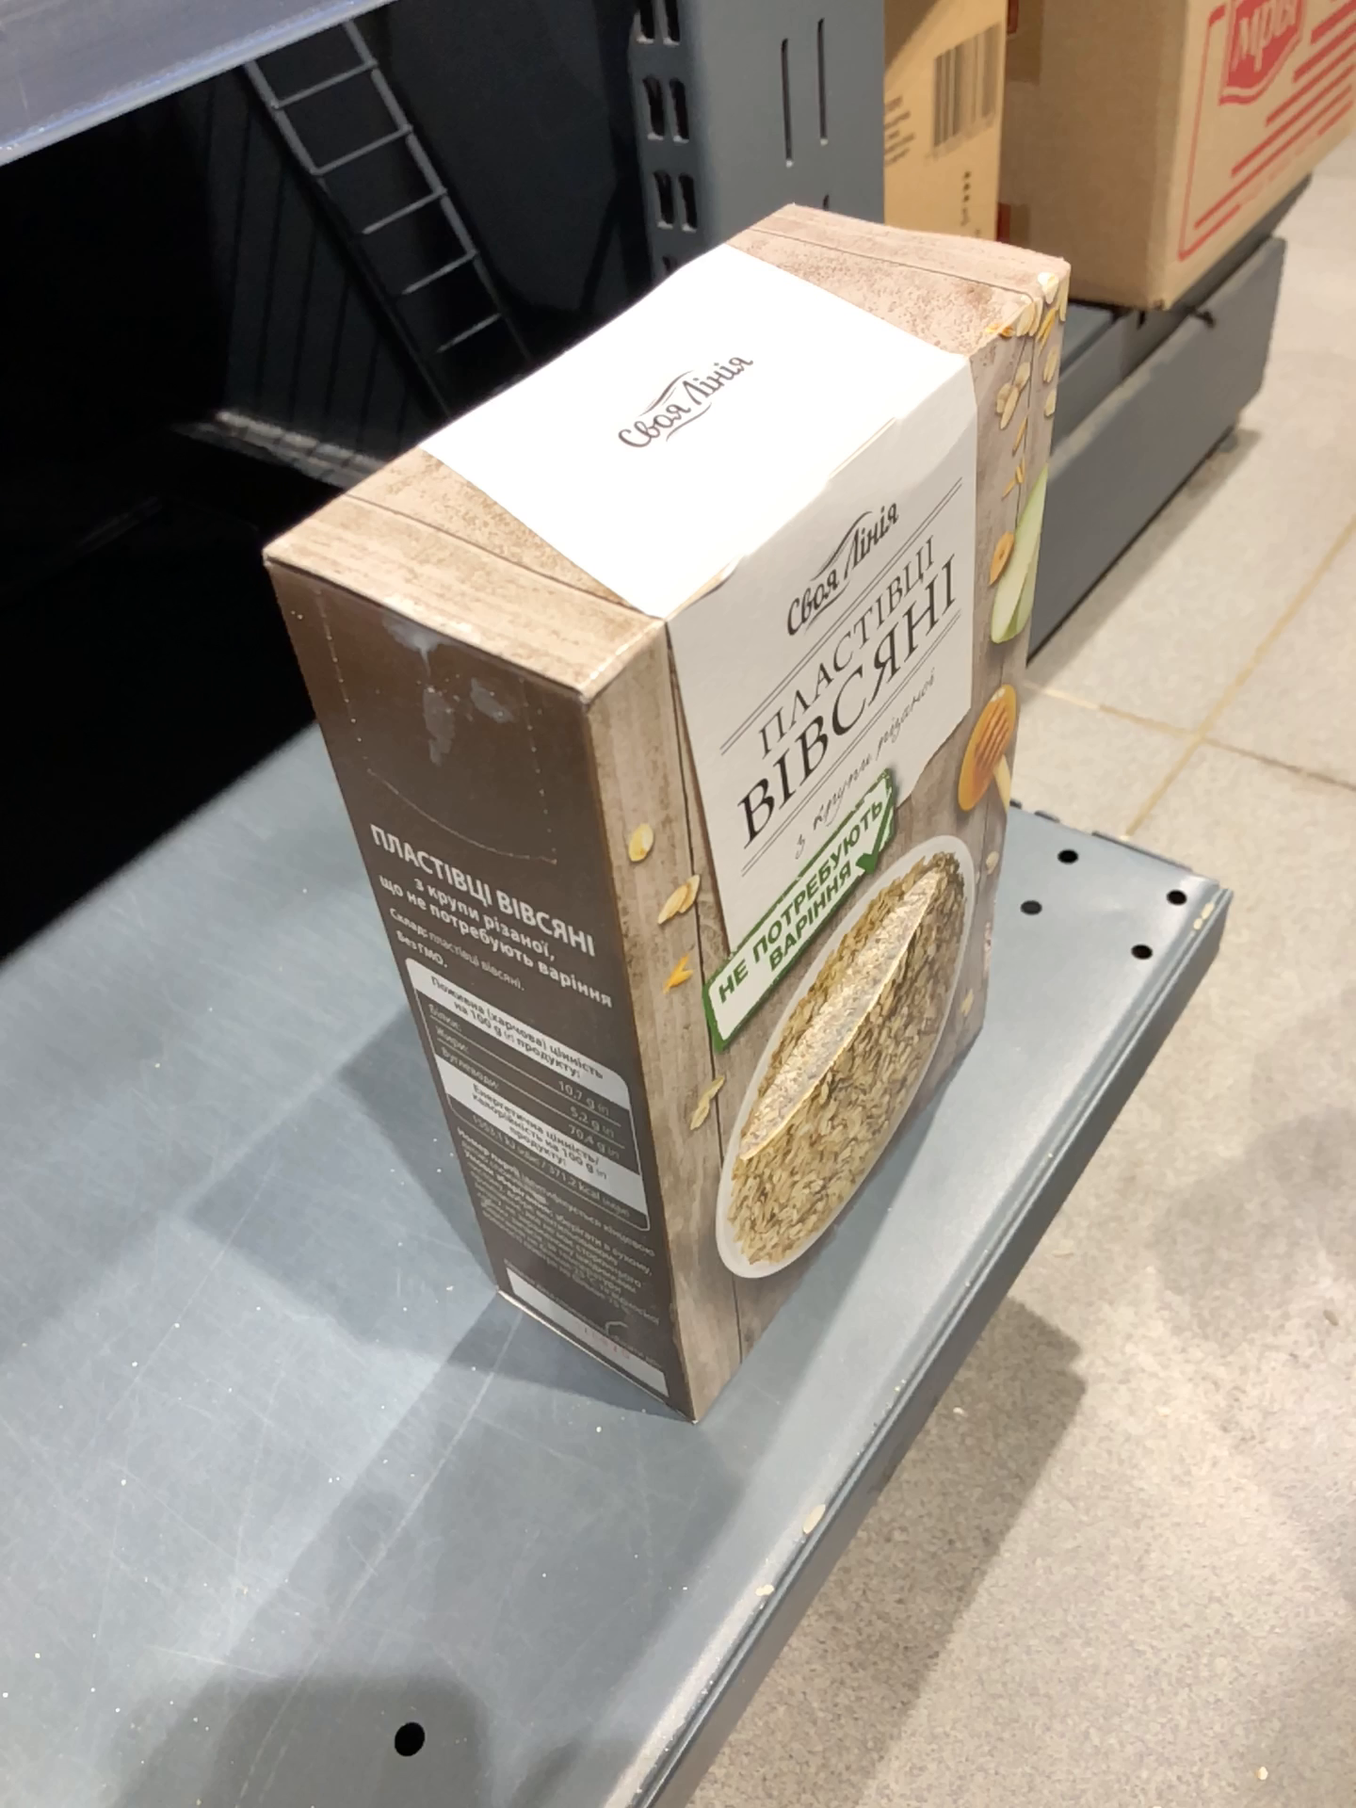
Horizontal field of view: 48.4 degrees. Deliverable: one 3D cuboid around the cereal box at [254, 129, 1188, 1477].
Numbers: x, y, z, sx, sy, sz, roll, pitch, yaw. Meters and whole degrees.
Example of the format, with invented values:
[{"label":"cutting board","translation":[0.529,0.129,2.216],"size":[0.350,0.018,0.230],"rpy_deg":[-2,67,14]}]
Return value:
[{"label":"cereal box","translation":[0.021,-0.010,0.314],"size":[0.070,0.228,0.151],"rpy_deg":[26,53,27]}]
